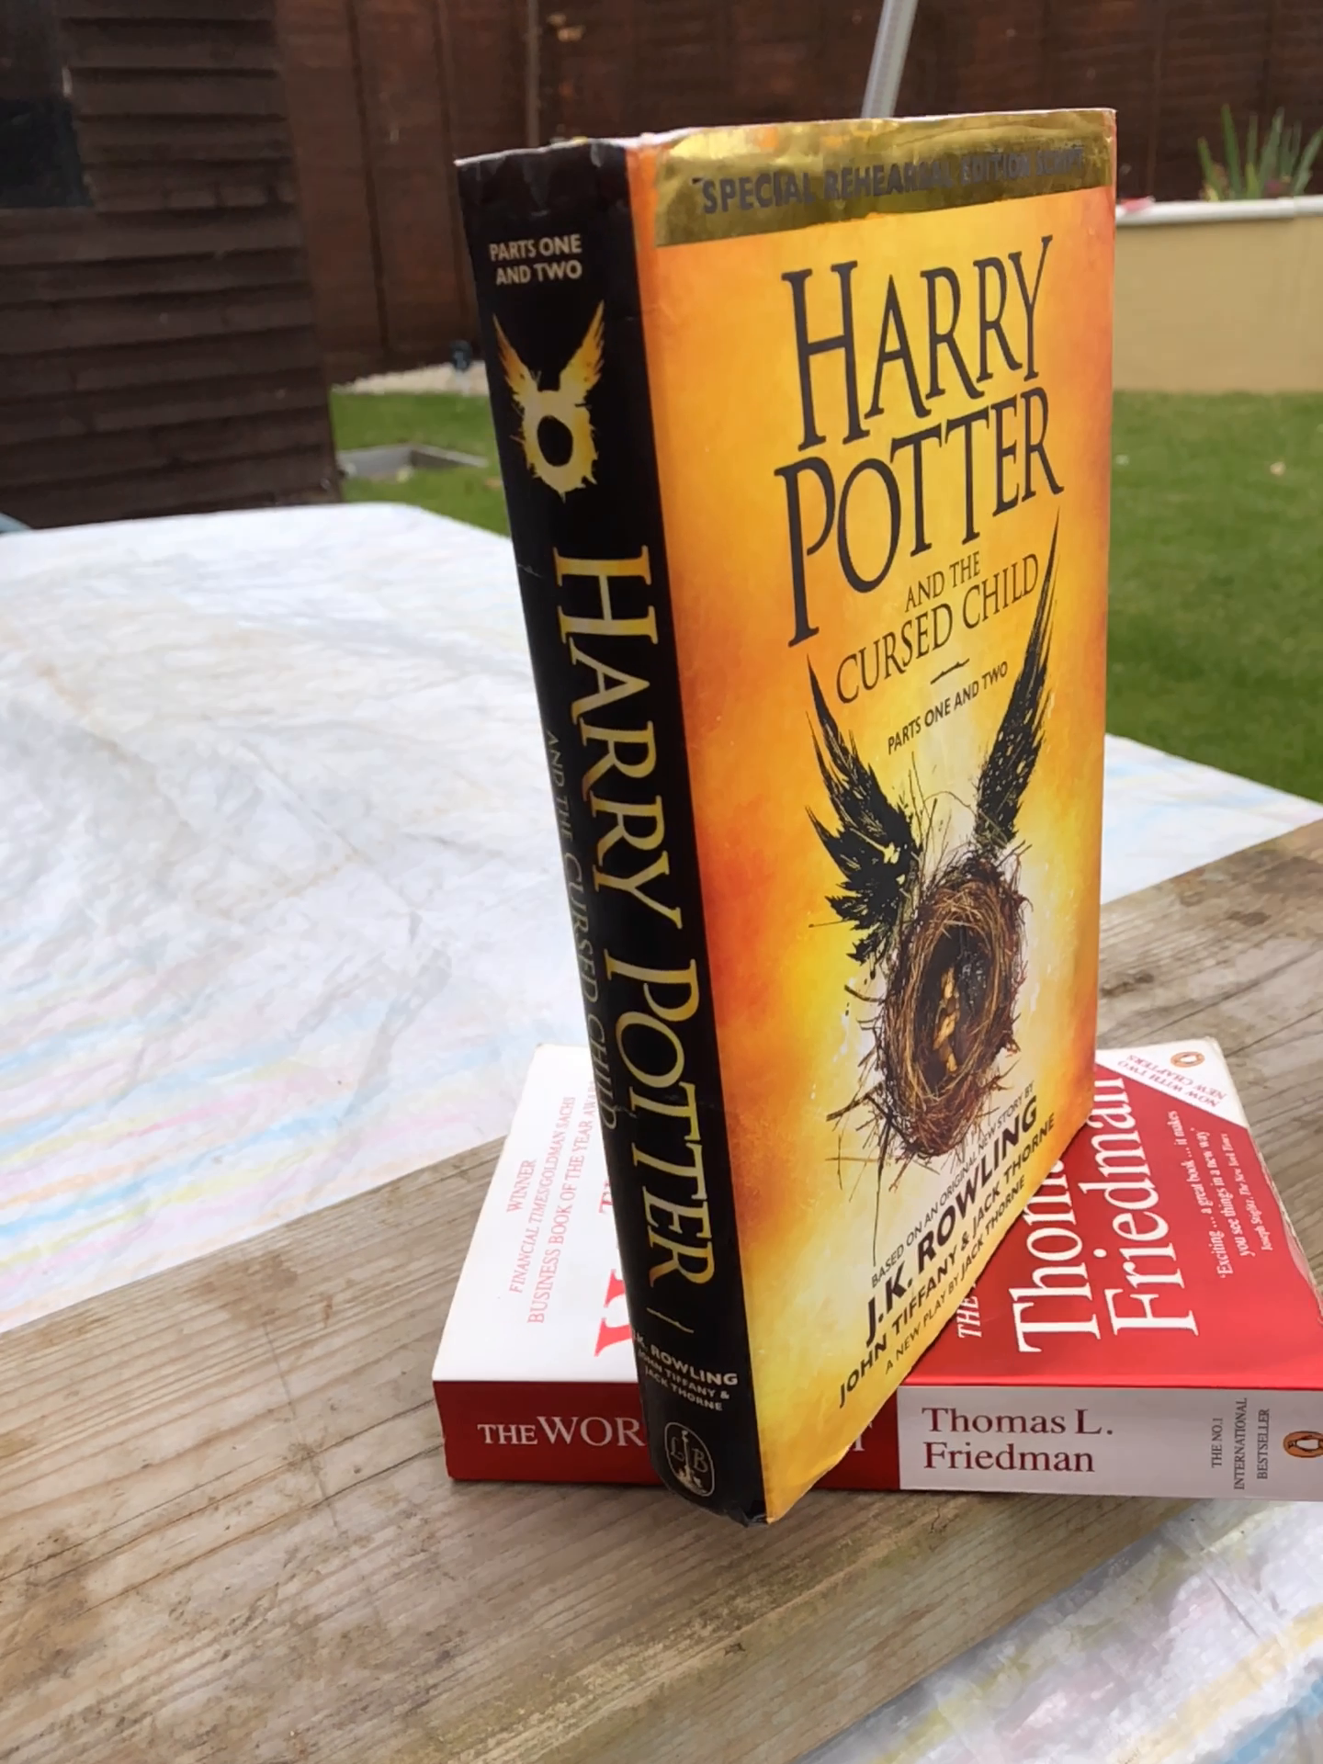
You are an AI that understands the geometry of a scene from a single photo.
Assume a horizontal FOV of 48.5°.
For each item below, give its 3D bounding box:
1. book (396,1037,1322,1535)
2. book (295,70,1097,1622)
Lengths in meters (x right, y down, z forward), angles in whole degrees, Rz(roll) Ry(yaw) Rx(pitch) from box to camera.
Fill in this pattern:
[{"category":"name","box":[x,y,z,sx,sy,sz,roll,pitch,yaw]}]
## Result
[{"category":"book","box":[0.047,0.090,0.363,0.190,0.040,0.131,-1,24,8]},{"category":"book","box":[0.032,-0.016,0.285,0.040,0.239,0.171,9,26,36]}]
